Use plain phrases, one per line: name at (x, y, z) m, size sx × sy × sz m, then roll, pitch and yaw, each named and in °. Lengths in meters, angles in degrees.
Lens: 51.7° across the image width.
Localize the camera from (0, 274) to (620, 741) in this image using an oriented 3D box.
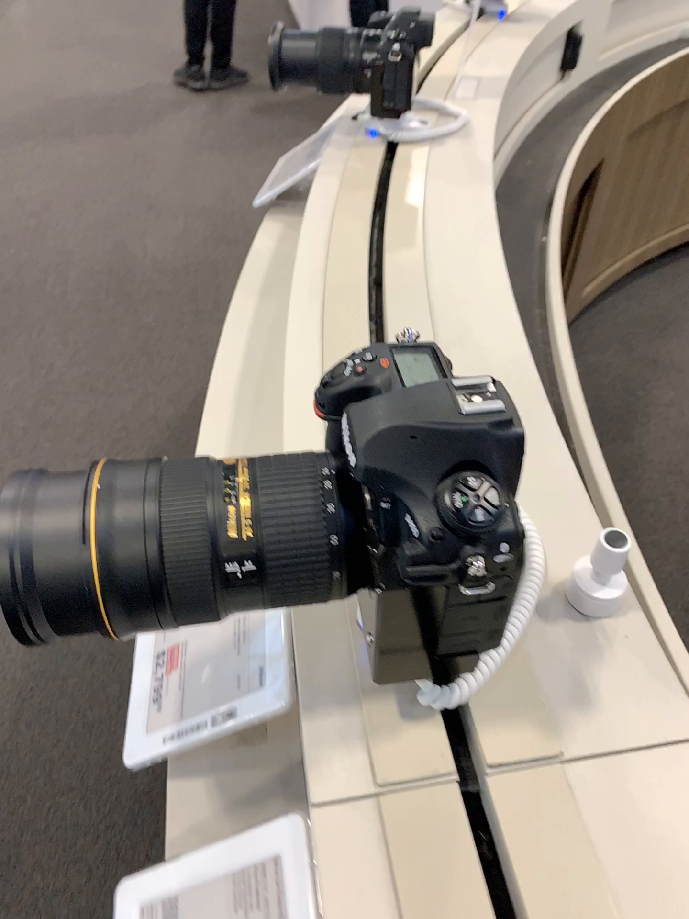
camera at (-0.035, 0.012, 0.329) m, size 0.240 × 0.109 × 0.161 m, roll -5°, pitch 45°, yaw -7°
